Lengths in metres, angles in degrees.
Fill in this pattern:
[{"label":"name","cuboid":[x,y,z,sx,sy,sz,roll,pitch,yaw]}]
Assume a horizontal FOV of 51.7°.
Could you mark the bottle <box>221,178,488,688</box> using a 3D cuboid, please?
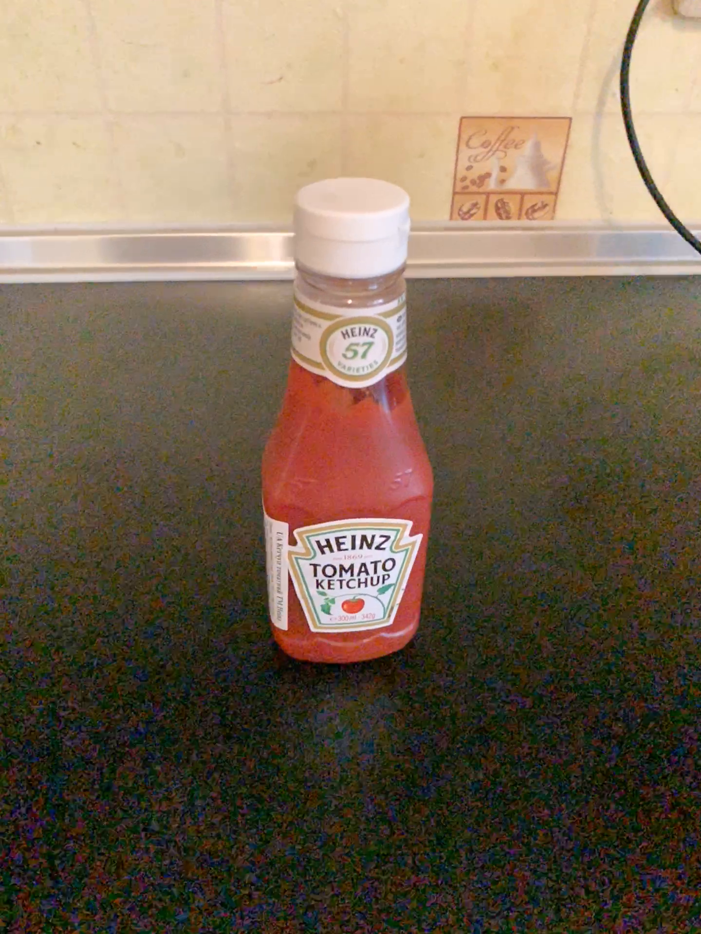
[{"label":"bottle","cuboid":[-0.003,0.000,0.266,0.070,0.189,0.050,-4,39,-7]}]
